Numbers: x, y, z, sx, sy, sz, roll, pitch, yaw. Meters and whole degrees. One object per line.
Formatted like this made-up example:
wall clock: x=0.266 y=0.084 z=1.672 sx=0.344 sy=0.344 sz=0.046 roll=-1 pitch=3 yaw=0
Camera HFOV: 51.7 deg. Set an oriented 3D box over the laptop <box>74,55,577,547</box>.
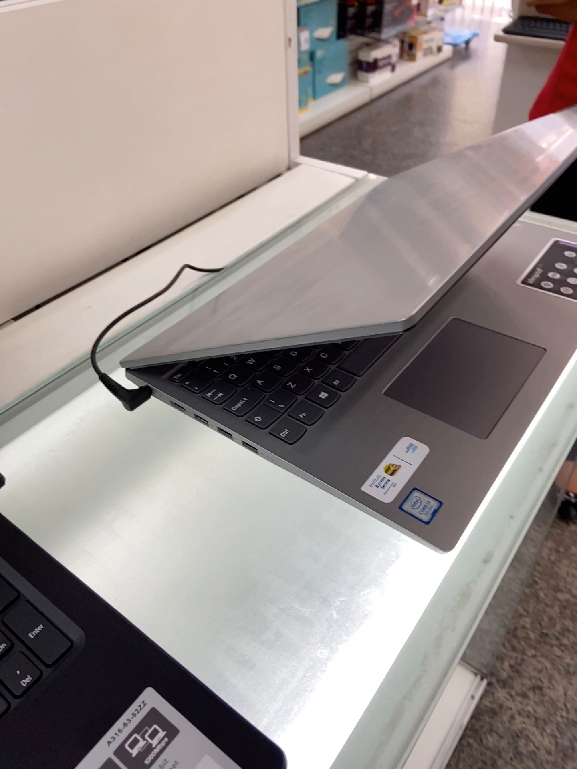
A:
laptop: x=0.087 y=-0.108 z=0.414 sx=0.239 sy=0.122 sz=0.355 roll=25 pitch=48 yaw=28
